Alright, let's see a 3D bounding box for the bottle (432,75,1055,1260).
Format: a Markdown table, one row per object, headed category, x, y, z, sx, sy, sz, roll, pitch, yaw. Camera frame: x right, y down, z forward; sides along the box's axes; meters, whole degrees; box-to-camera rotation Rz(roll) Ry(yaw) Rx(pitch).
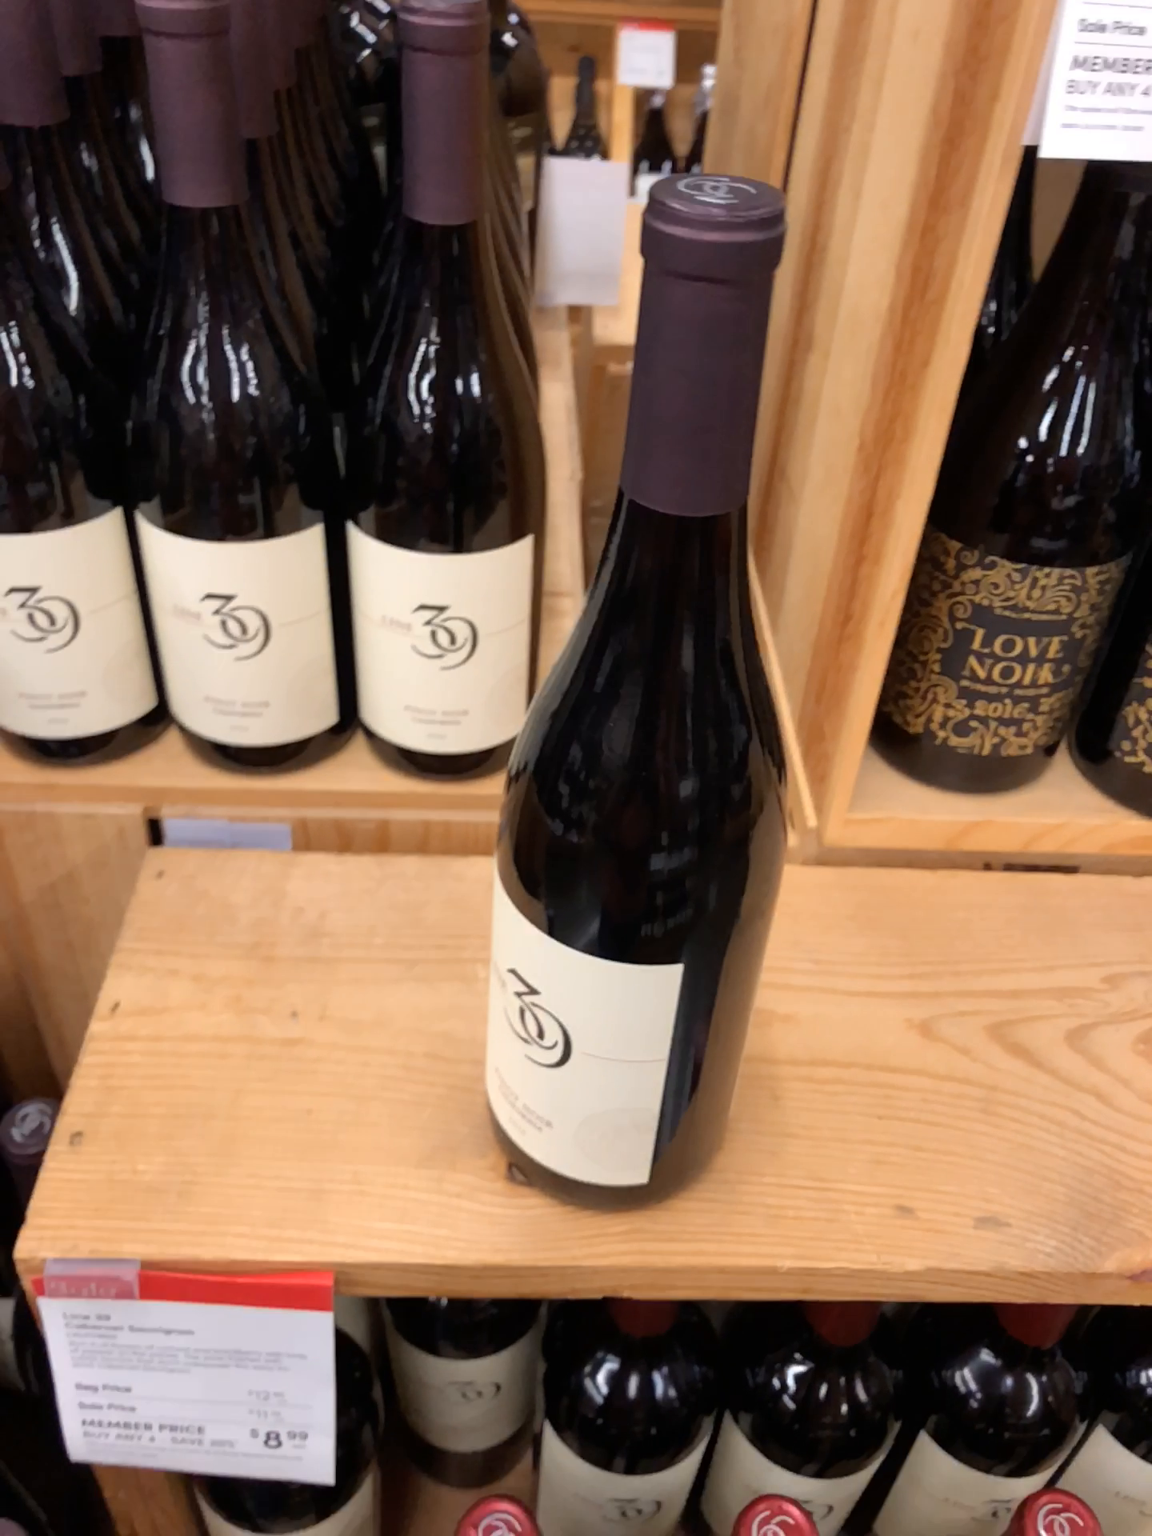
| category | x | y | z | sx | sy | sz | roll | pitch | yaw |
| --- | --- | --- | --- | --- | --- | --- | --- | --- | --- |
| bottle | 0.021 | -0.005 | 0.322 | 0.080 | 0.283 | 0.080 | 3 | 39 | -2 |
